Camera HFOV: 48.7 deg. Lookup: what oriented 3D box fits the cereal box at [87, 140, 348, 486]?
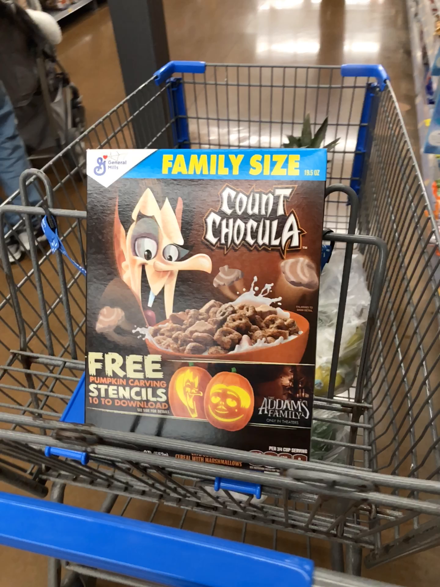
[{"bbox_3d":[-0.006,0.015,0.518,0.250,0.330,0.080,3,7,9],"label":"cereal box"}]
